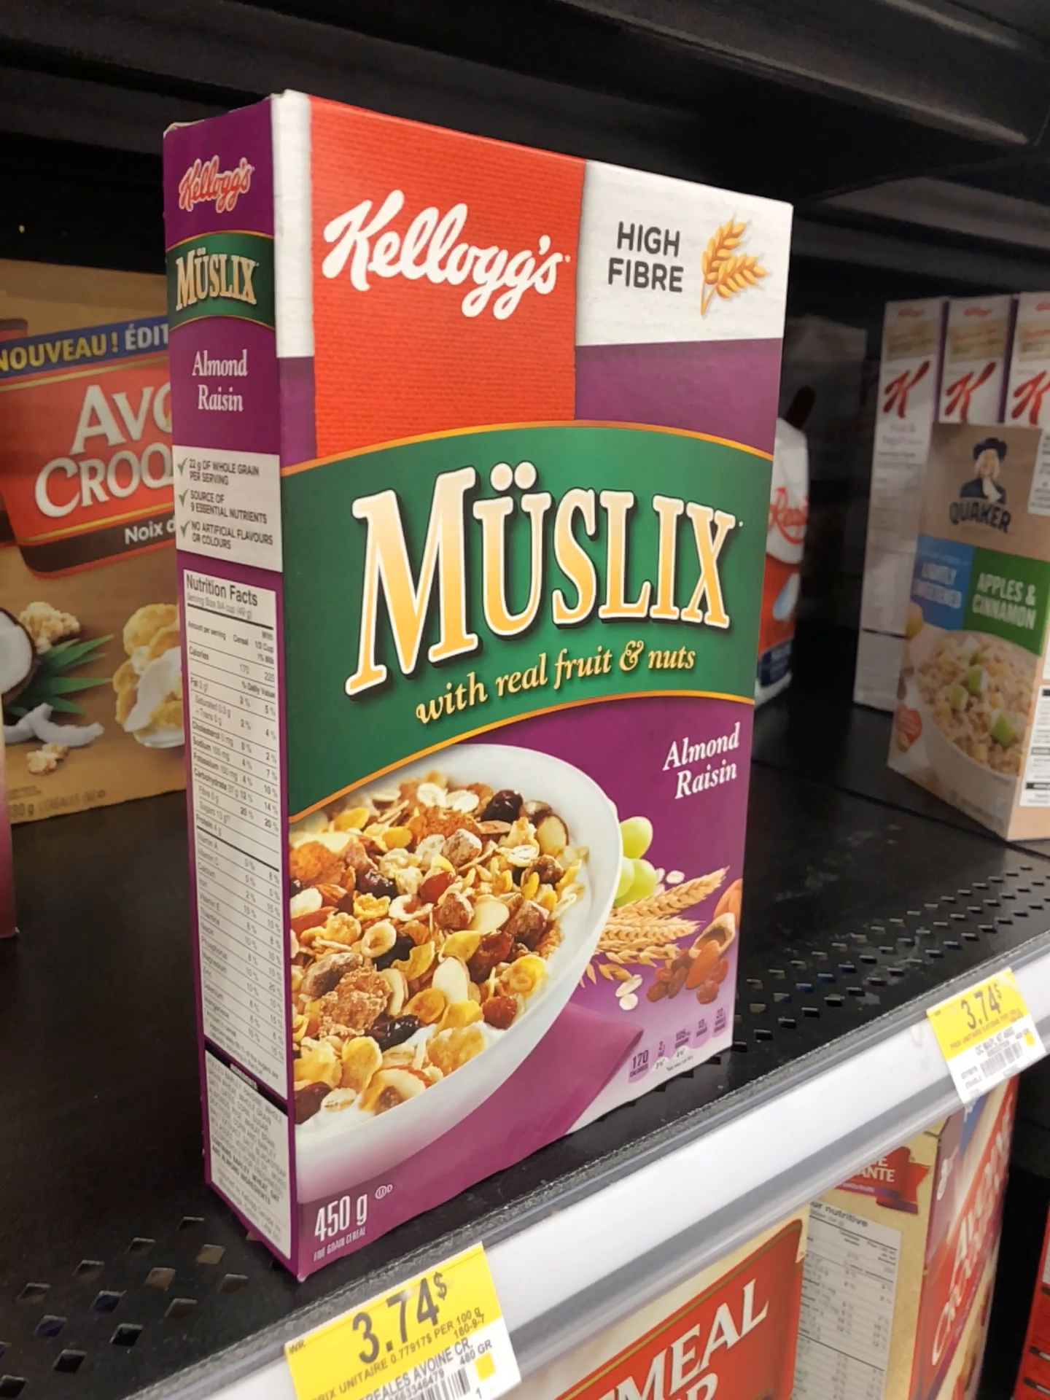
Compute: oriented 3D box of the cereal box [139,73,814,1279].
[{"bbox_3d":[-0.007,-0.008,0.322,0.170,0.259,0.060,-10,18,-41],"label":"cereal box"}]
